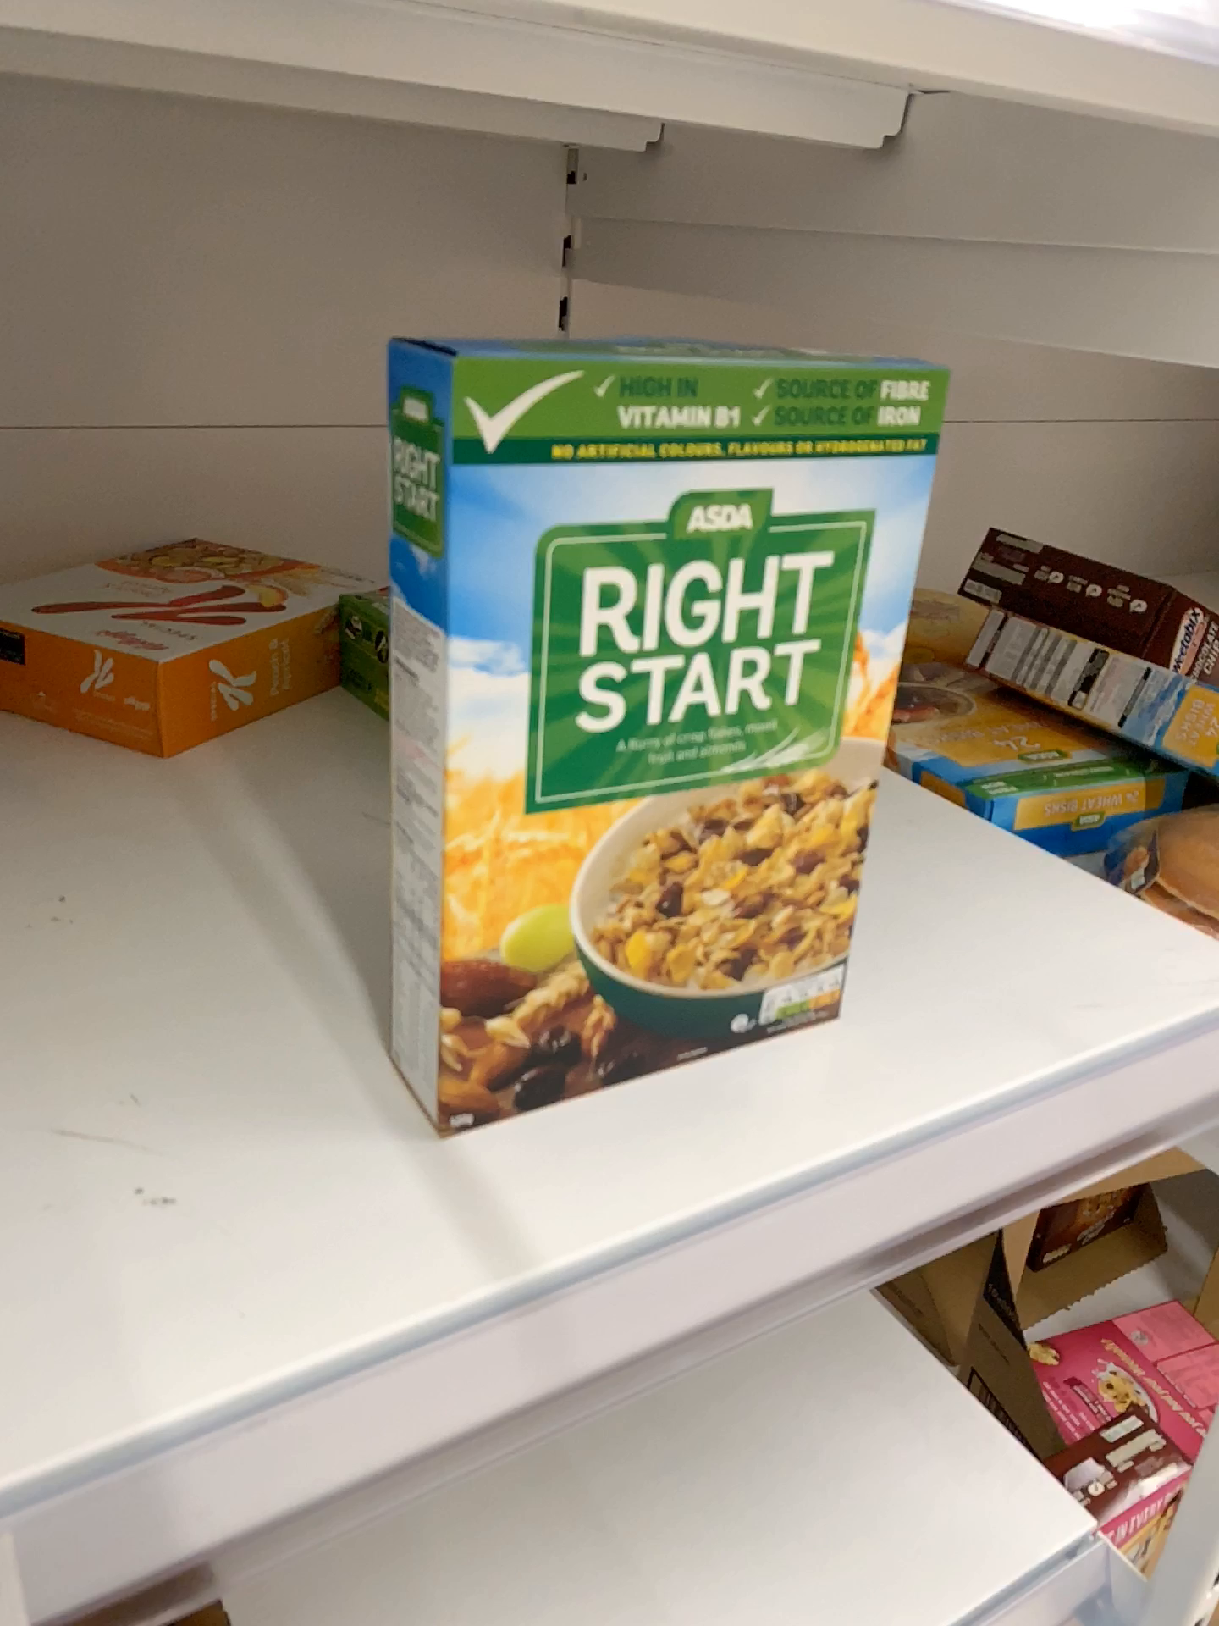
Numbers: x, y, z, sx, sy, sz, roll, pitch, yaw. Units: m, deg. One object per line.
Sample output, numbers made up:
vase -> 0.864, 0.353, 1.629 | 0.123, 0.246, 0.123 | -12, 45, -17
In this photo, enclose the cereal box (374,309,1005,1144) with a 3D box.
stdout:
cereal box -> 0.021, -0.034, 0.457 | 0.201, 0.268, 0.070 | -10, 29, -30
